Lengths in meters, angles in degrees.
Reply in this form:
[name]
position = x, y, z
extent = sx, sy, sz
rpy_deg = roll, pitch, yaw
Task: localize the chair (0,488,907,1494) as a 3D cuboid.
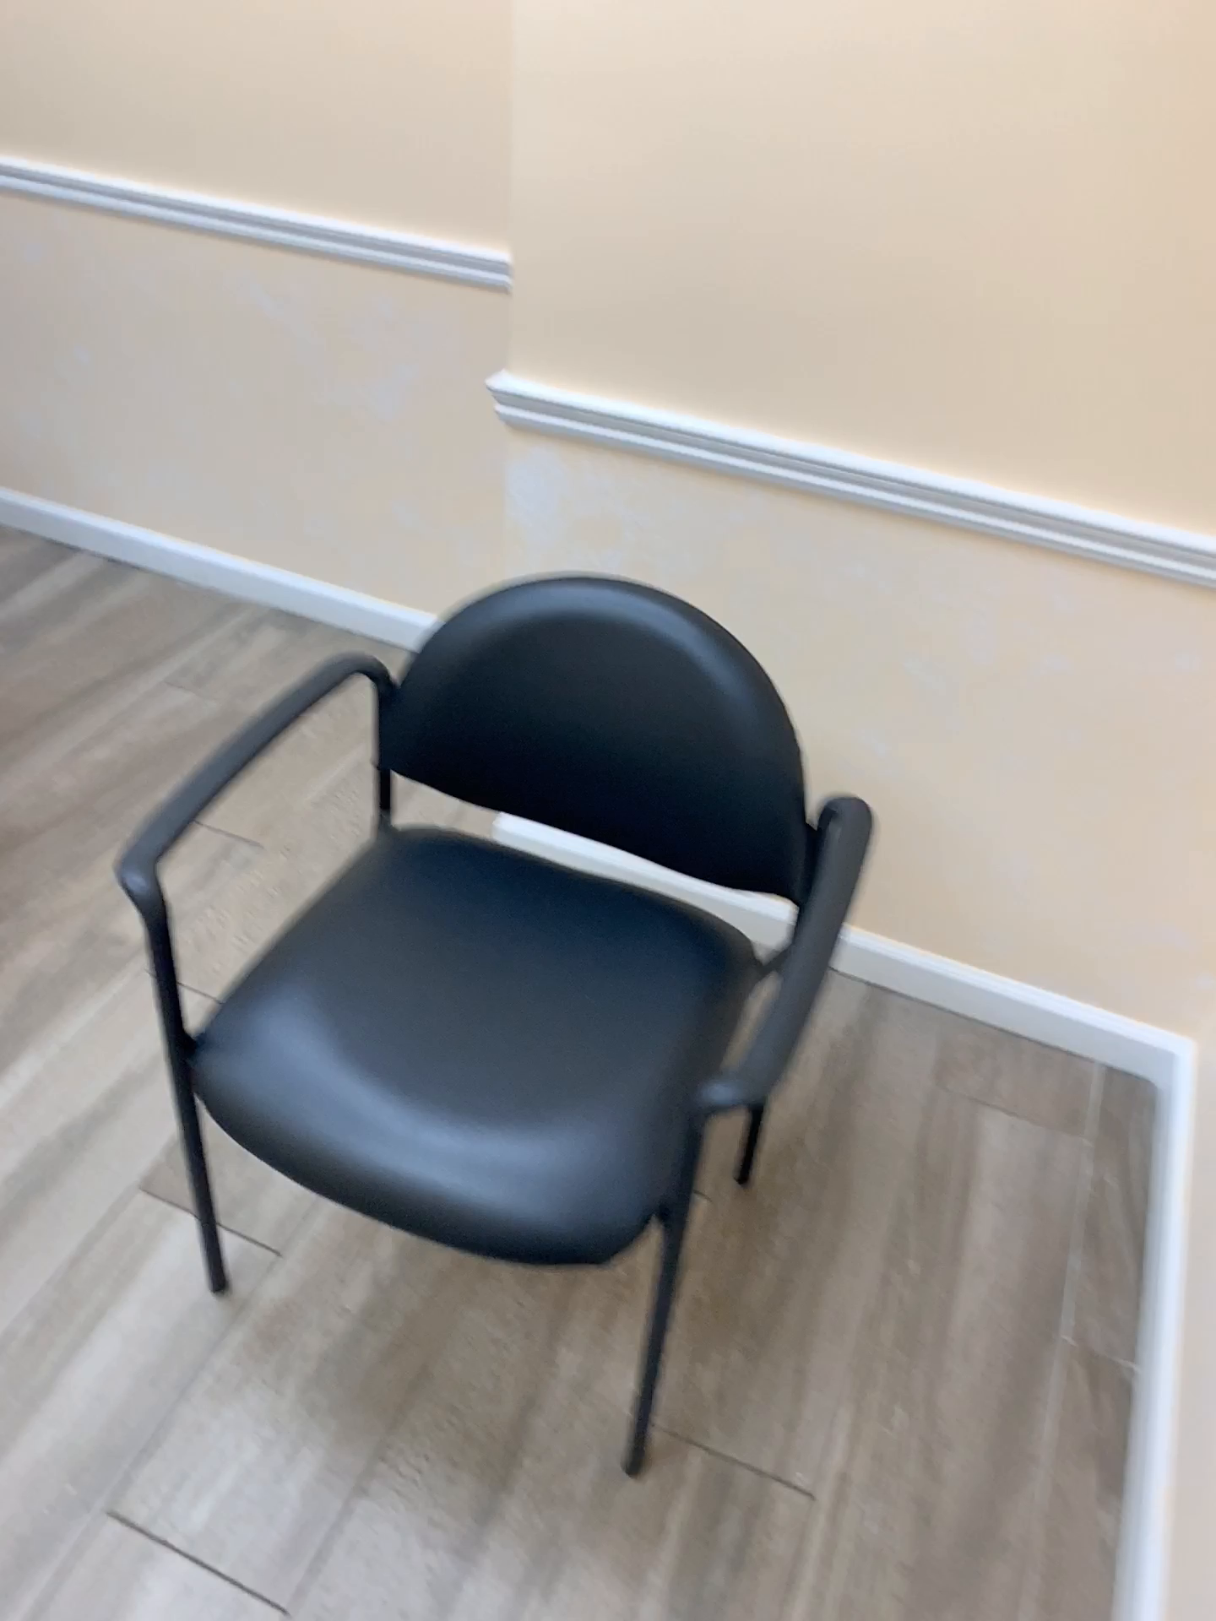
[chair]
position = -0.110, 0.173, 1.254
extent = 0.583, 0.726, 0.513
rpy_deg = 17, 41, 14
